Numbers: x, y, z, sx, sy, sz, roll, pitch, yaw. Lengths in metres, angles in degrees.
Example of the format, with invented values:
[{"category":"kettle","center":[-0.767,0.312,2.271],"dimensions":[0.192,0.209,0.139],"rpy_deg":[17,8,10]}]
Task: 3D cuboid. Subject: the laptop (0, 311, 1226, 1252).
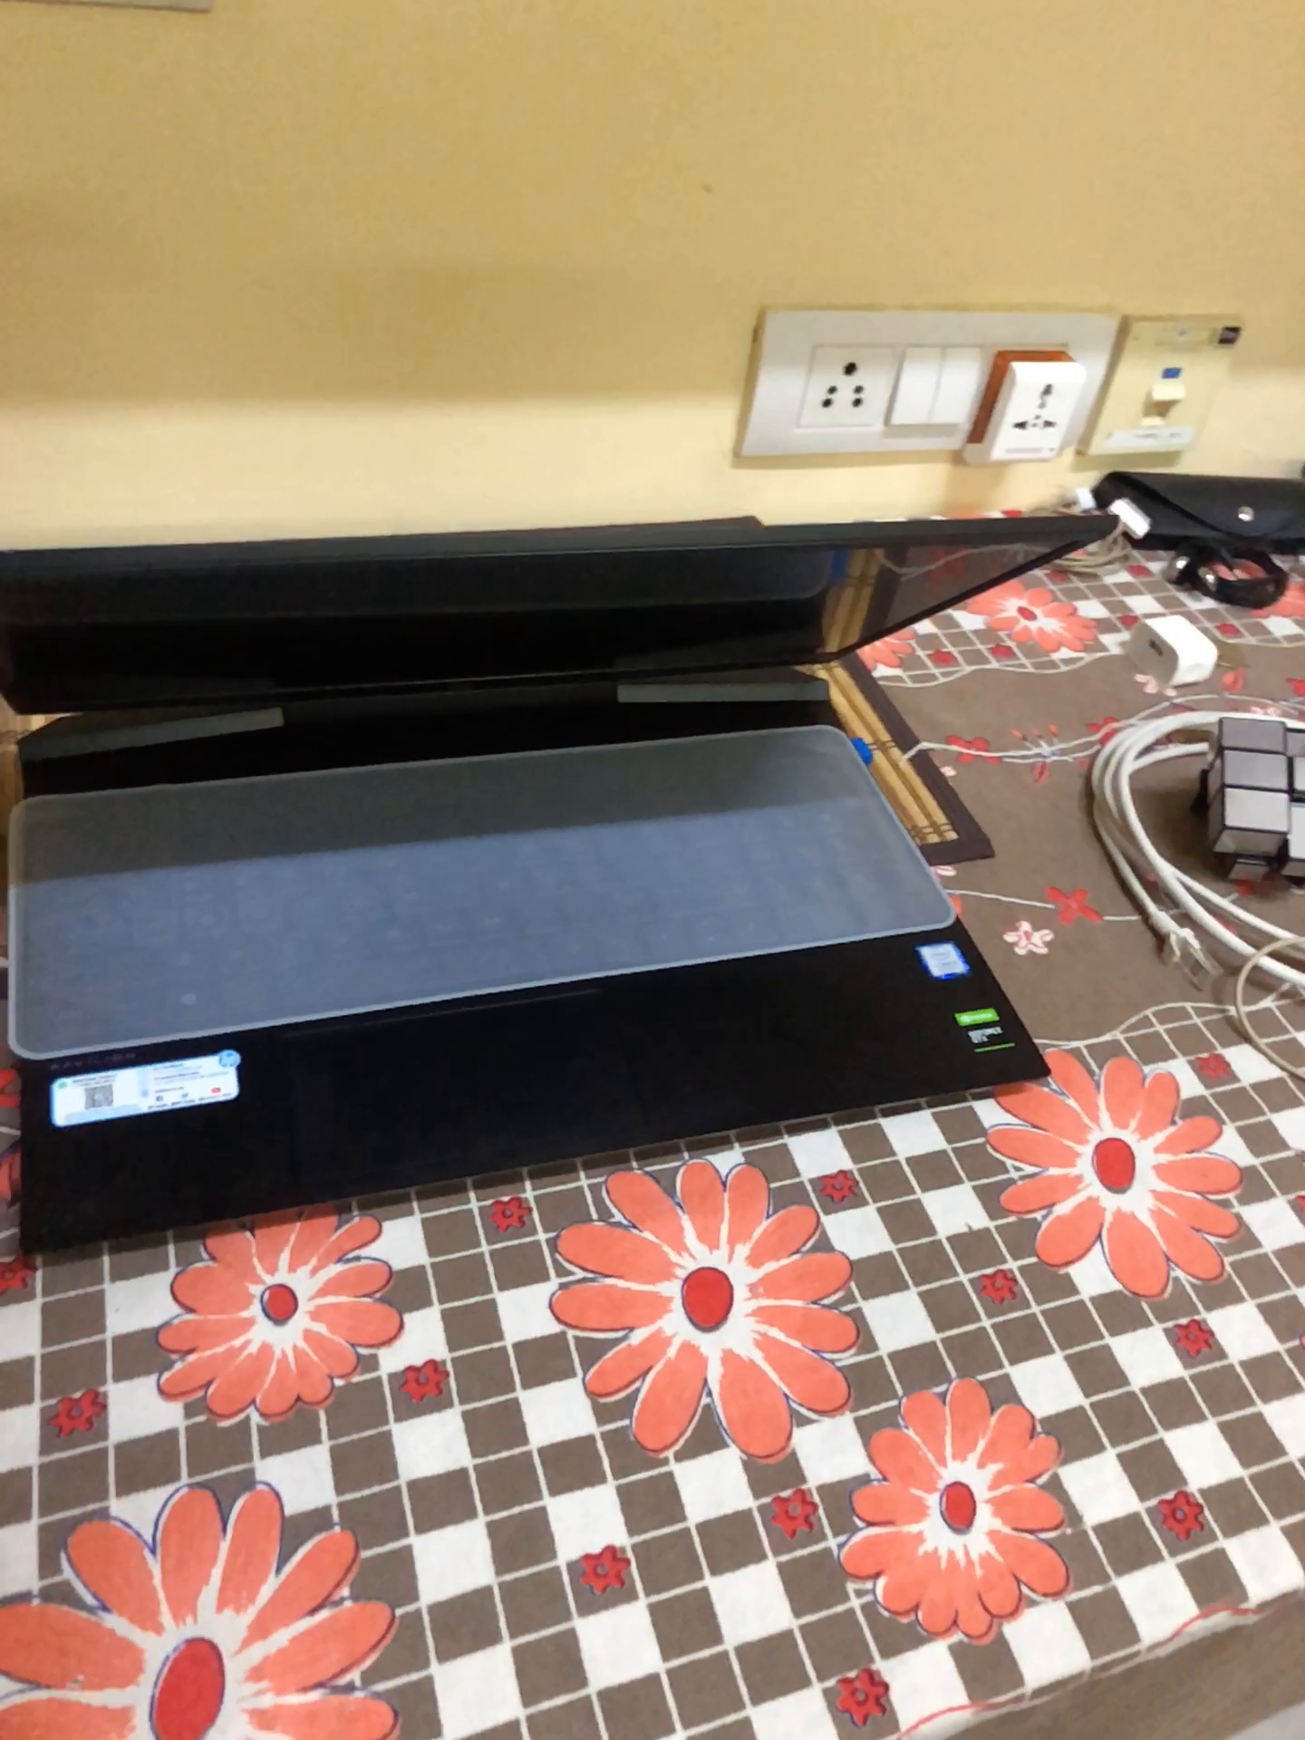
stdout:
[{"category":"laptop","center":[-0.042,-0.053,0.509],"dimensions":[0.356,0.164,0.237],"rpy_deg":[-7,49,-16]}]
